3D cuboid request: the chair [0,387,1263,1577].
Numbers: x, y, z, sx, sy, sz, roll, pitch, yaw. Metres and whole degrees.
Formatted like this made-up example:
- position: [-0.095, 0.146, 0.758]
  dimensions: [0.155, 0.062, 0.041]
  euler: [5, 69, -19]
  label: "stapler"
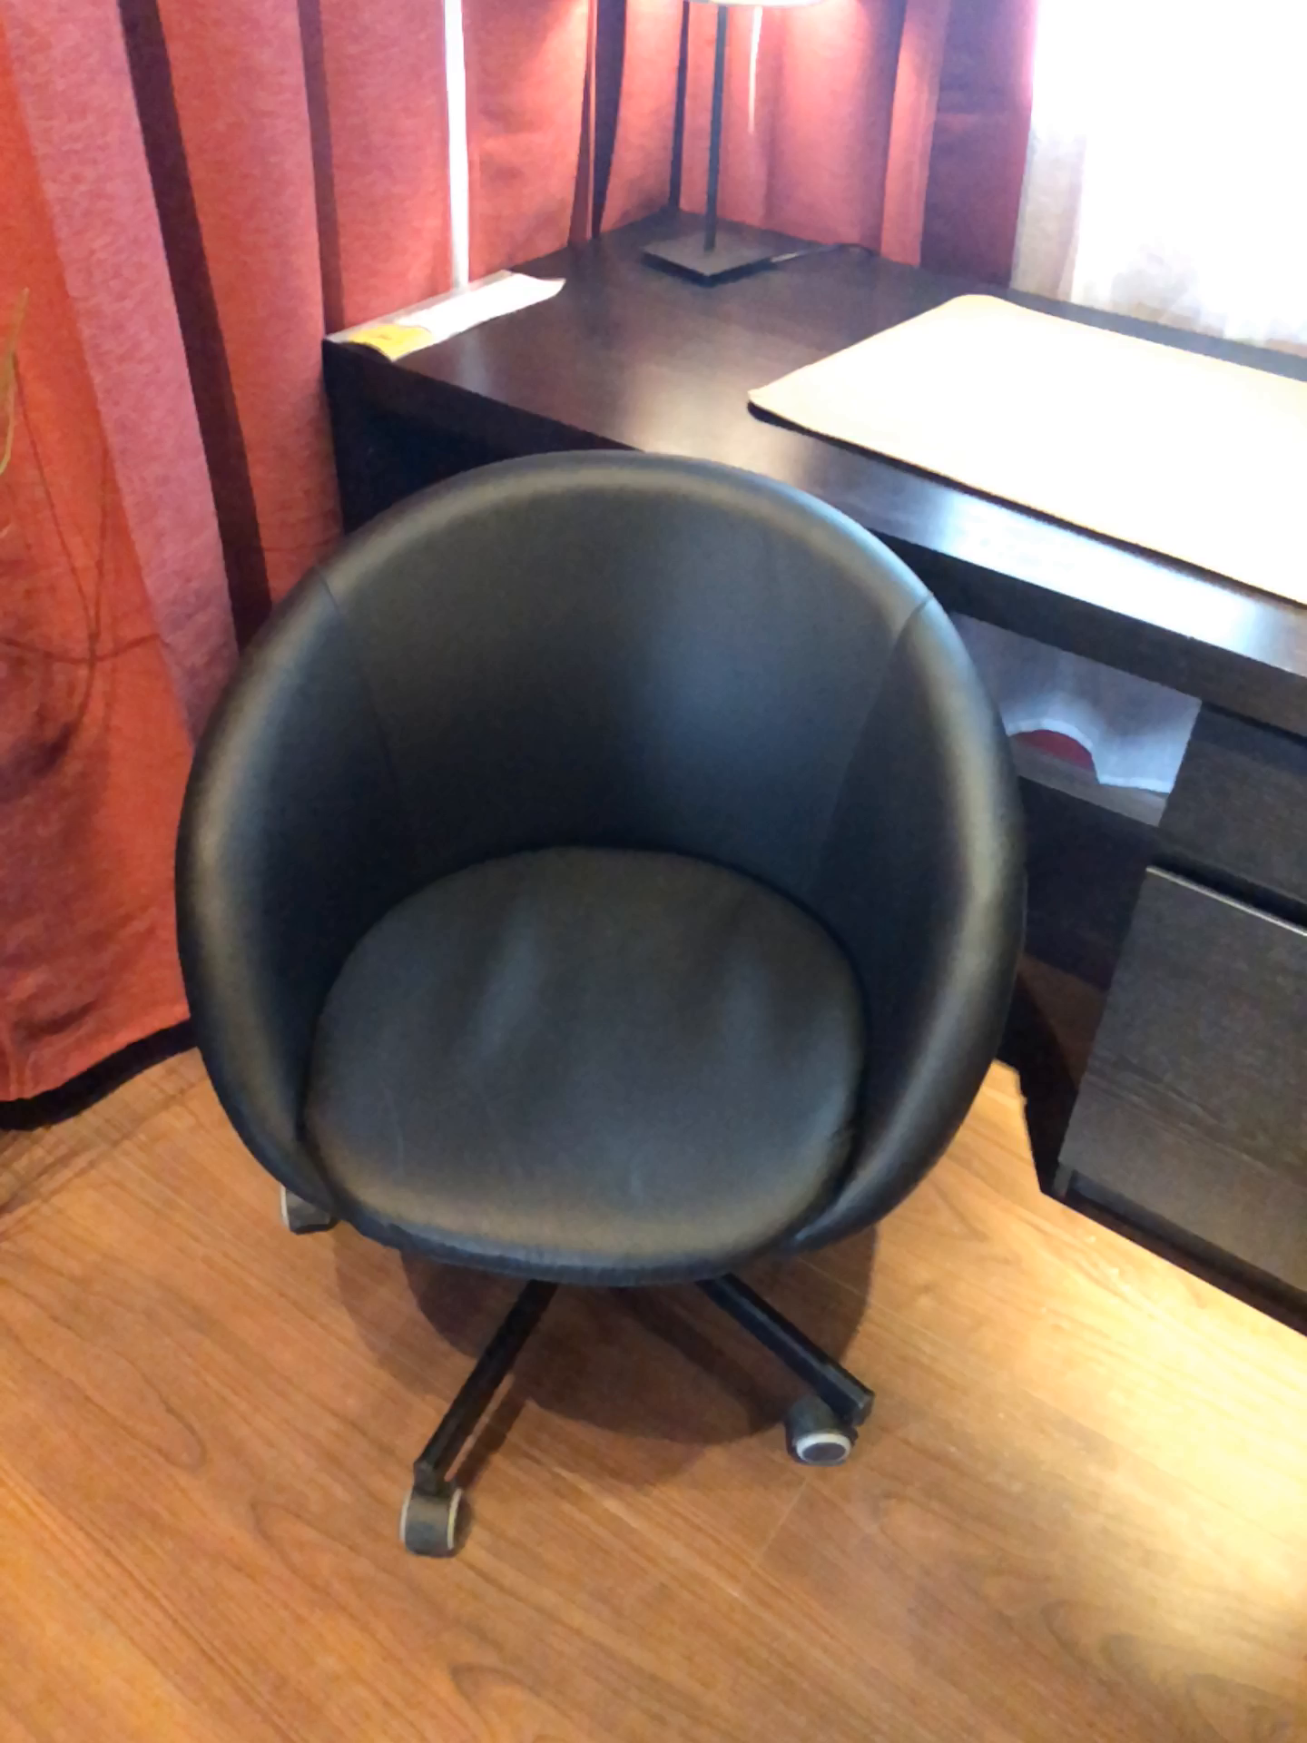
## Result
- position: [-0.034, 0.086, 1.105]
  dimensions: [0.630, 0.695, 0.574]
  euler: [2, 40, 0]
  label: "chair"
